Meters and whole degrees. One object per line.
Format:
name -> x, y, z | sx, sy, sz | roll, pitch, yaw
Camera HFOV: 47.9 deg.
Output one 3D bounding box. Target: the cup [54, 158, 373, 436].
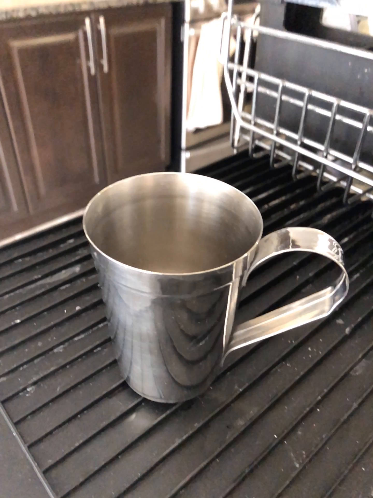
cup -> 0.013, 0.022, 0.190 | 0.110, 0.097, 0.065 | 5, 38, 3
